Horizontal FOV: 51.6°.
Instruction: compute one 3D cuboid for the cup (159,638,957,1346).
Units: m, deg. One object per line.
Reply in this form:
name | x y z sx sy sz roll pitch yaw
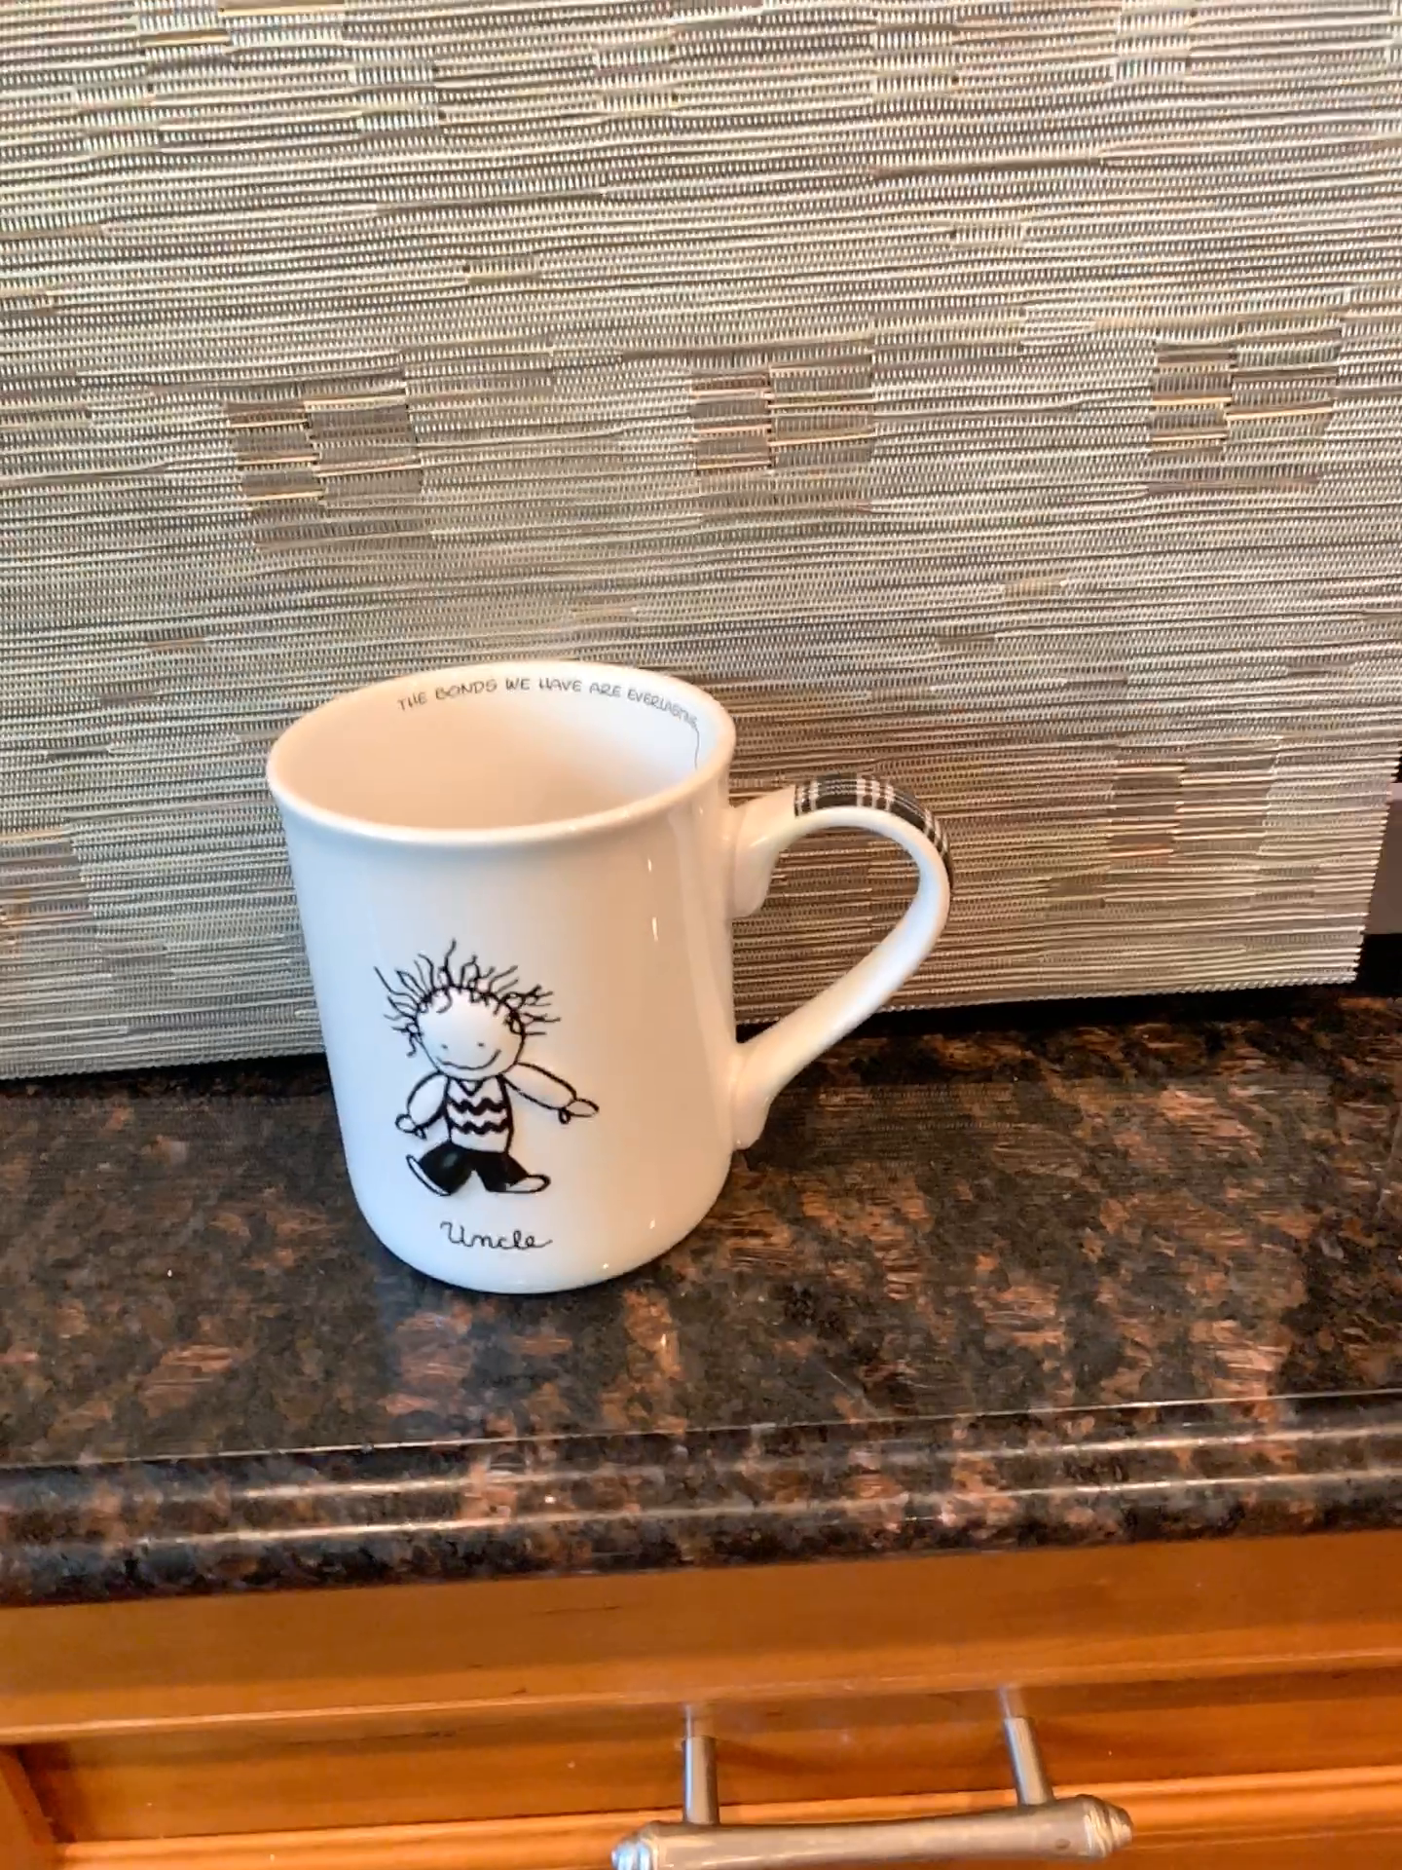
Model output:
cup | -0.020 0.007 0.304 0.130 0.109 0.101 0 29 4
